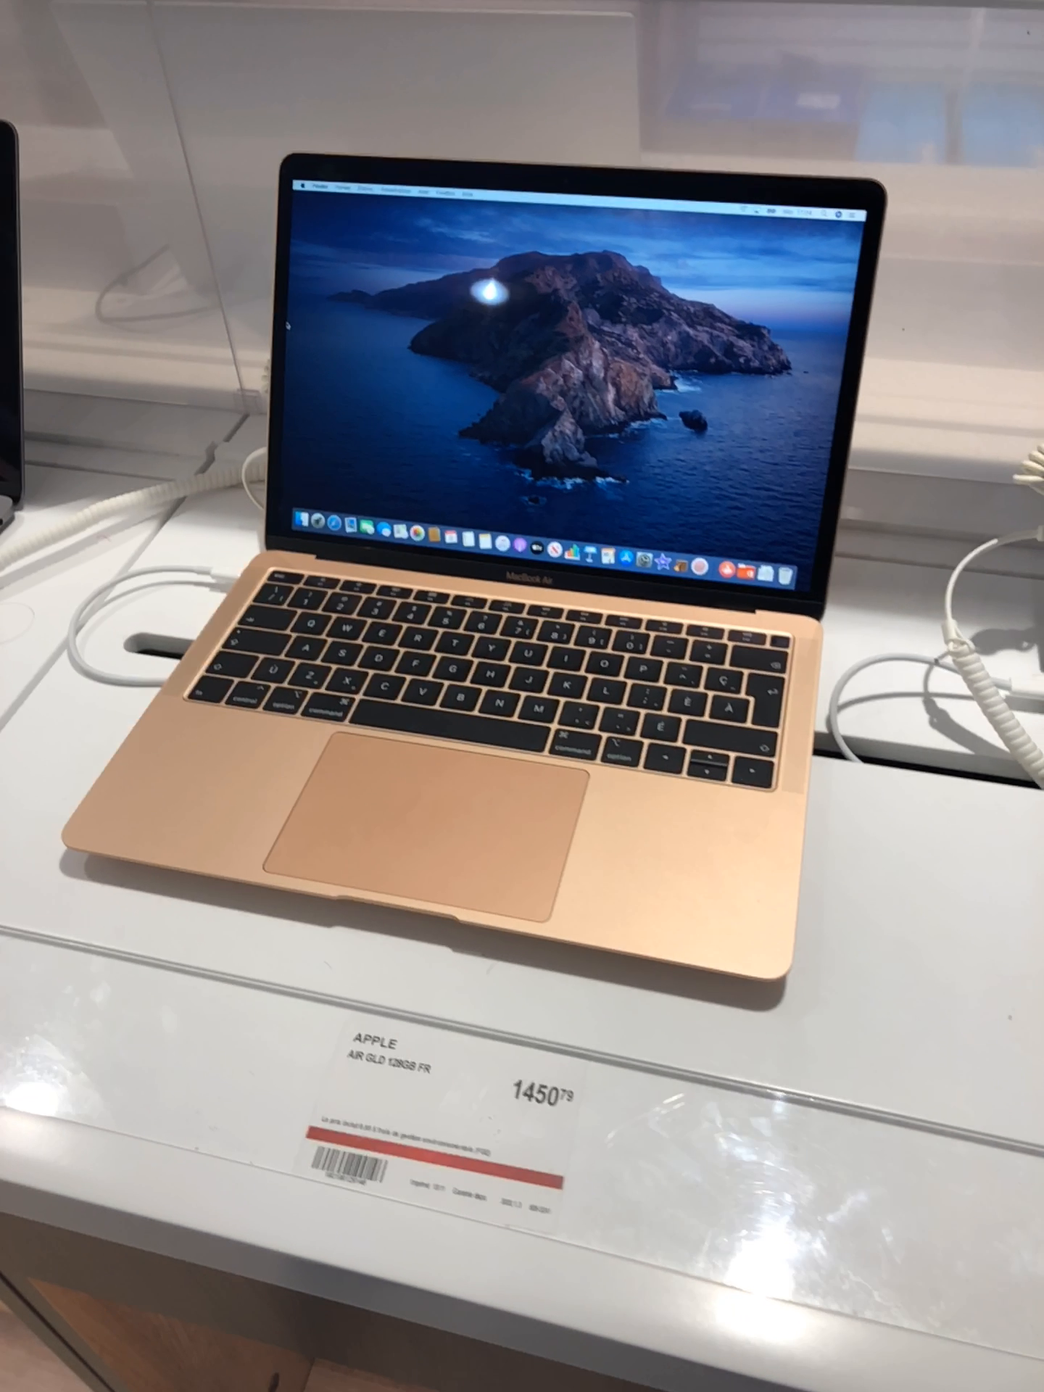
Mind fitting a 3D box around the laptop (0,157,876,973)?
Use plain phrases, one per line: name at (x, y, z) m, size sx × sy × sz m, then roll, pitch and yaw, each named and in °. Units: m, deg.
laptop at (-0.014, -0.084, 0.503) m, size 0.291 × 0.170 × 0.304 m, roll 8°, pitch 45°, yaw 12°
